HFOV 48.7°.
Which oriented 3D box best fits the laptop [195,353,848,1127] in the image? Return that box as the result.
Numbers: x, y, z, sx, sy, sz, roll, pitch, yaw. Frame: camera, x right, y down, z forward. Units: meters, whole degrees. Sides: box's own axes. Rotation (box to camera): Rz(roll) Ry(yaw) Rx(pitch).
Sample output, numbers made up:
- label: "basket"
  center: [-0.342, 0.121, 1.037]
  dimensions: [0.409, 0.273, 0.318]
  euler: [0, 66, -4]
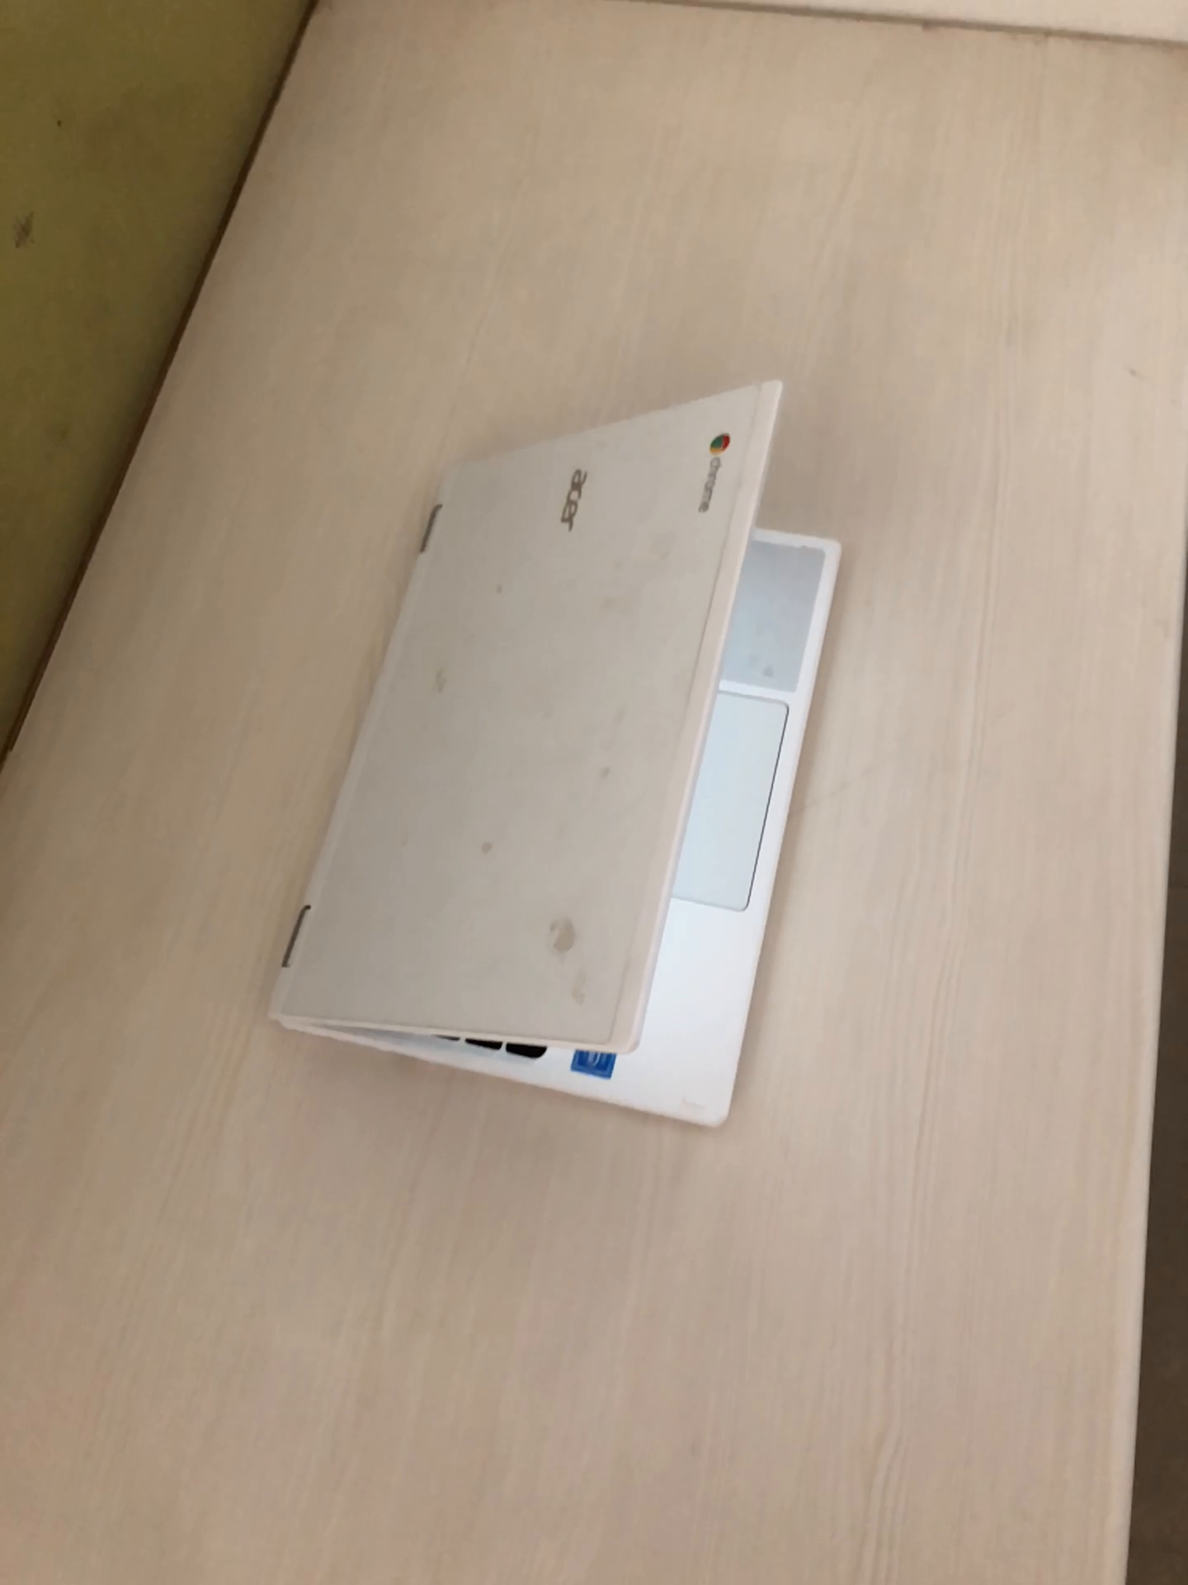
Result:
- label: "laptop"
  center: [-0.014, -0.029, 0.570]
  dimensions: [0.196, 0.105, 0.290]
  euler: [11, 68, 8]
